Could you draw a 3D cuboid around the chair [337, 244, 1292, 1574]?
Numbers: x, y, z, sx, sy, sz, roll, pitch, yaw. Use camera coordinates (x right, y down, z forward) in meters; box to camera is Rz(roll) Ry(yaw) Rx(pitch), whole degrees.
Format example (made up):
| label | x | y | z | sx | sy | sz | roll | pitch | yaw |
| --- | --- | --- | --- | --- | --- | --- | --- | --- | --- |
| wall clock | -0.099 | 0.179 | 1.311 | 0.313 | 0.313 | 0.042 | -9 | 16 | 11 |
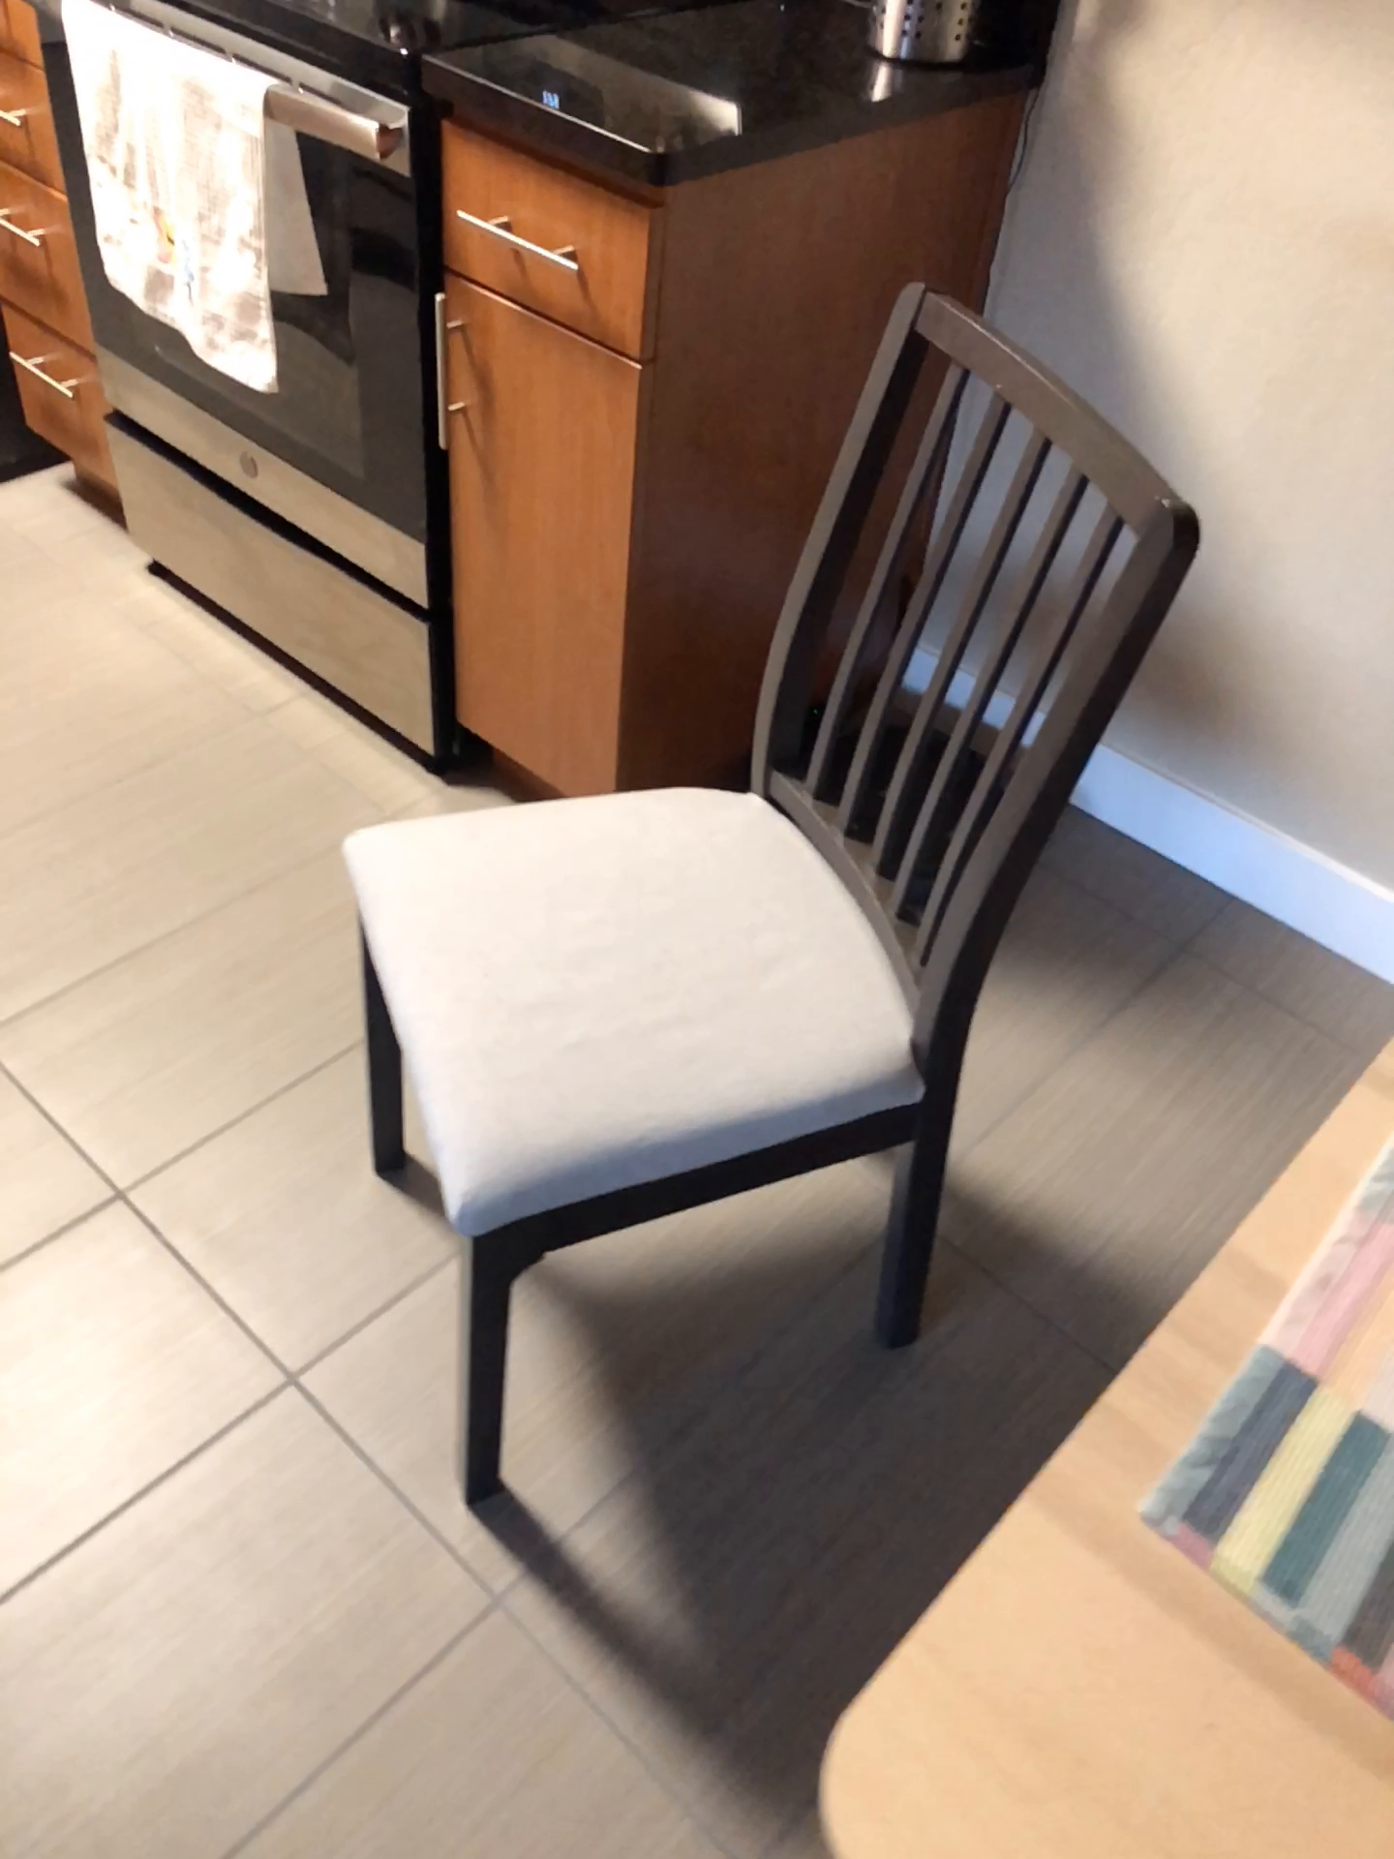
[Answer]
| label | x | y | z | sx | sy | sz | roll | pitch | yaw |
| --- | --- | --- | --- | --- | --- | --- | --- | --- | --- |
| chair | -0.006 | 0.044 | 1.402 | 0.510 | 1.125 | 0.482 | -7 | 44 | -16 |
